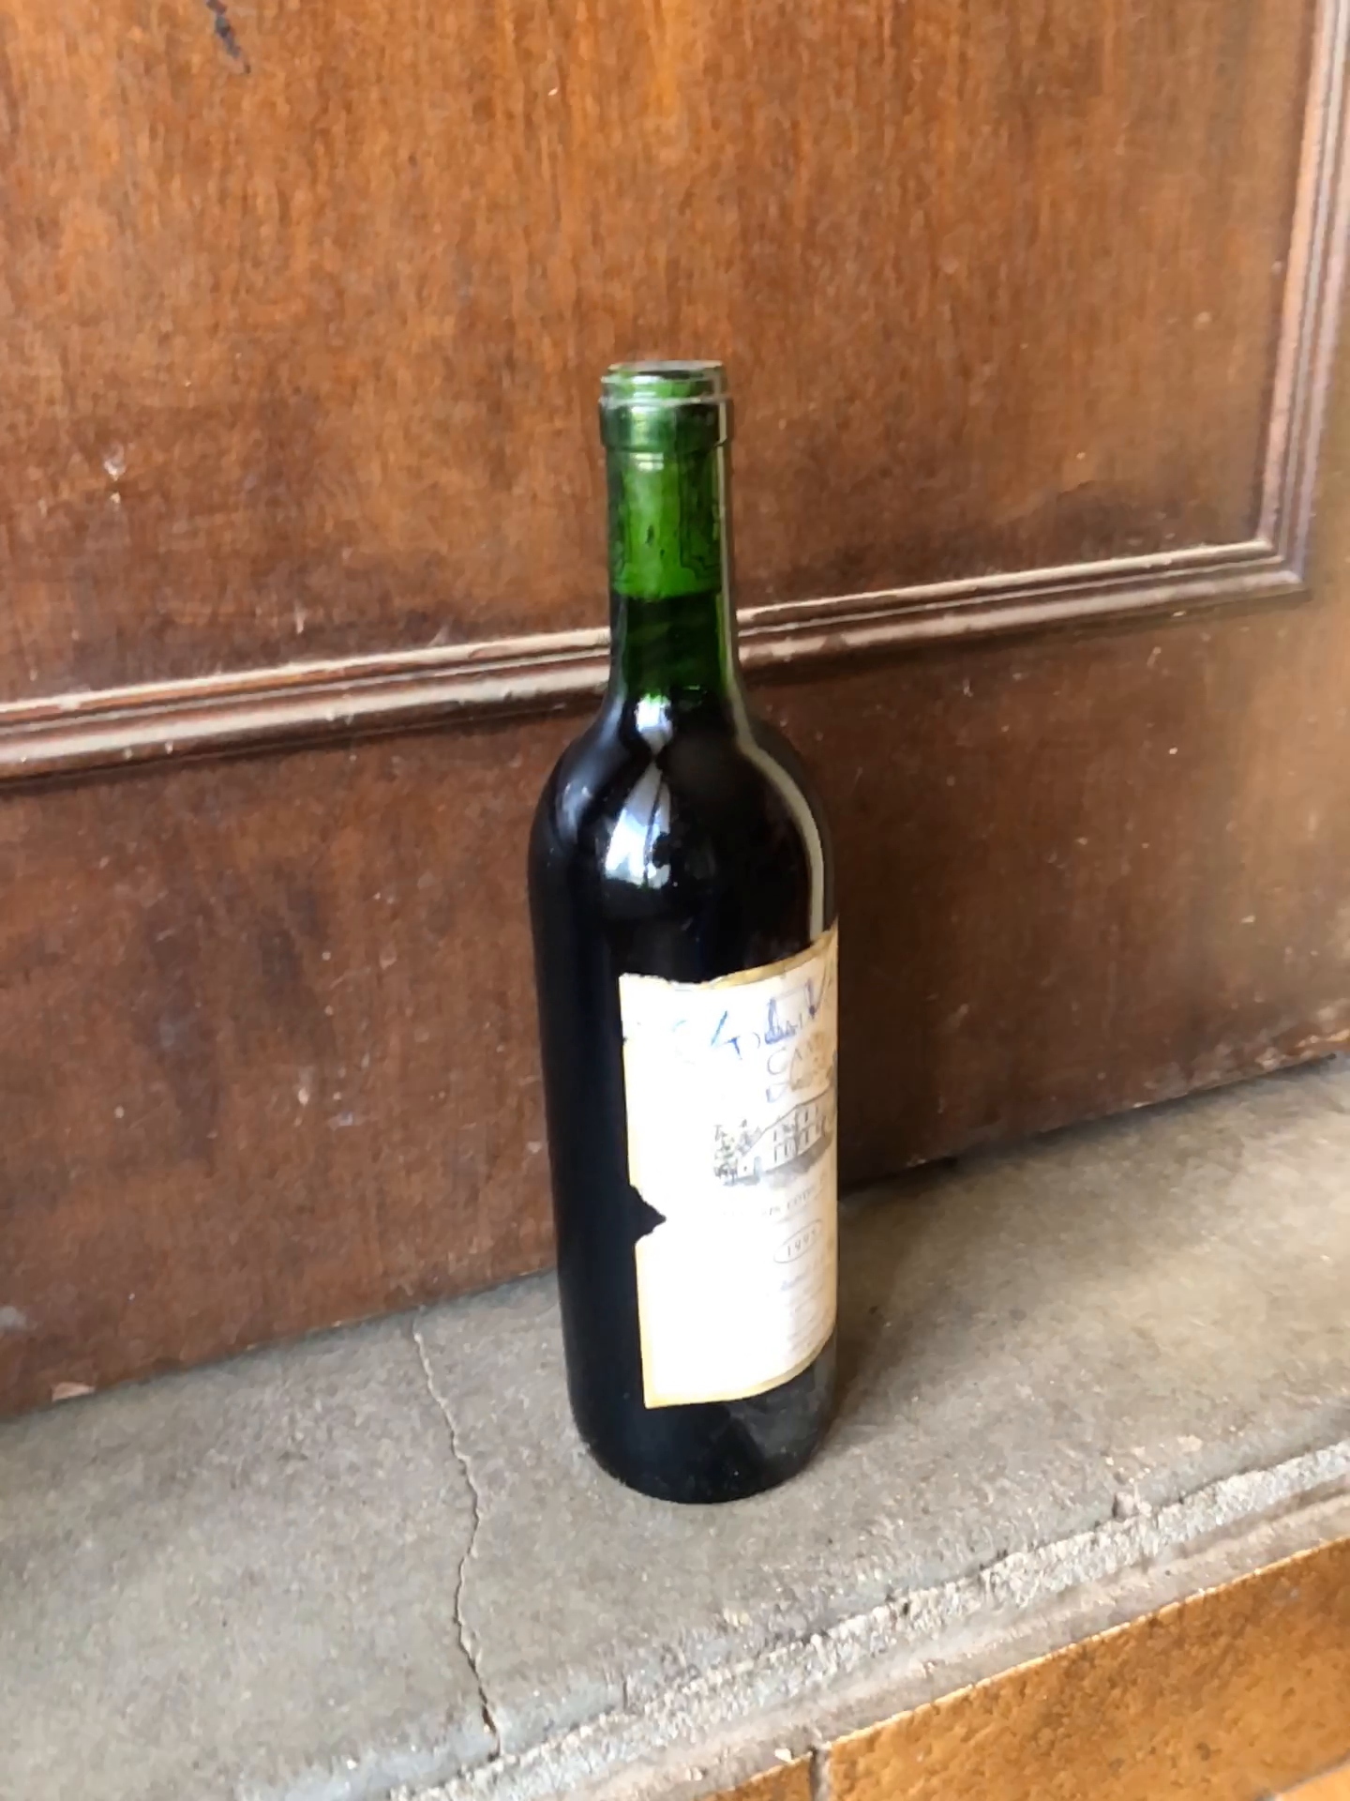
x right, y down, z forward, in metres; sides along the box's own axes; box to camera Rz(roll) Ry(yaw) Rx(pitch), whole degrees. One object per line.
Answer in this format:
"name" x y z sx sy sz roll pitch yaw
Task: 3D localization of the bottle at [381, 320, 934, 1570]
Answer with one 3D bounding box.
"bottle" 0.002 0.012 0.360 0.080 0.279 0.080 -2 23 1
